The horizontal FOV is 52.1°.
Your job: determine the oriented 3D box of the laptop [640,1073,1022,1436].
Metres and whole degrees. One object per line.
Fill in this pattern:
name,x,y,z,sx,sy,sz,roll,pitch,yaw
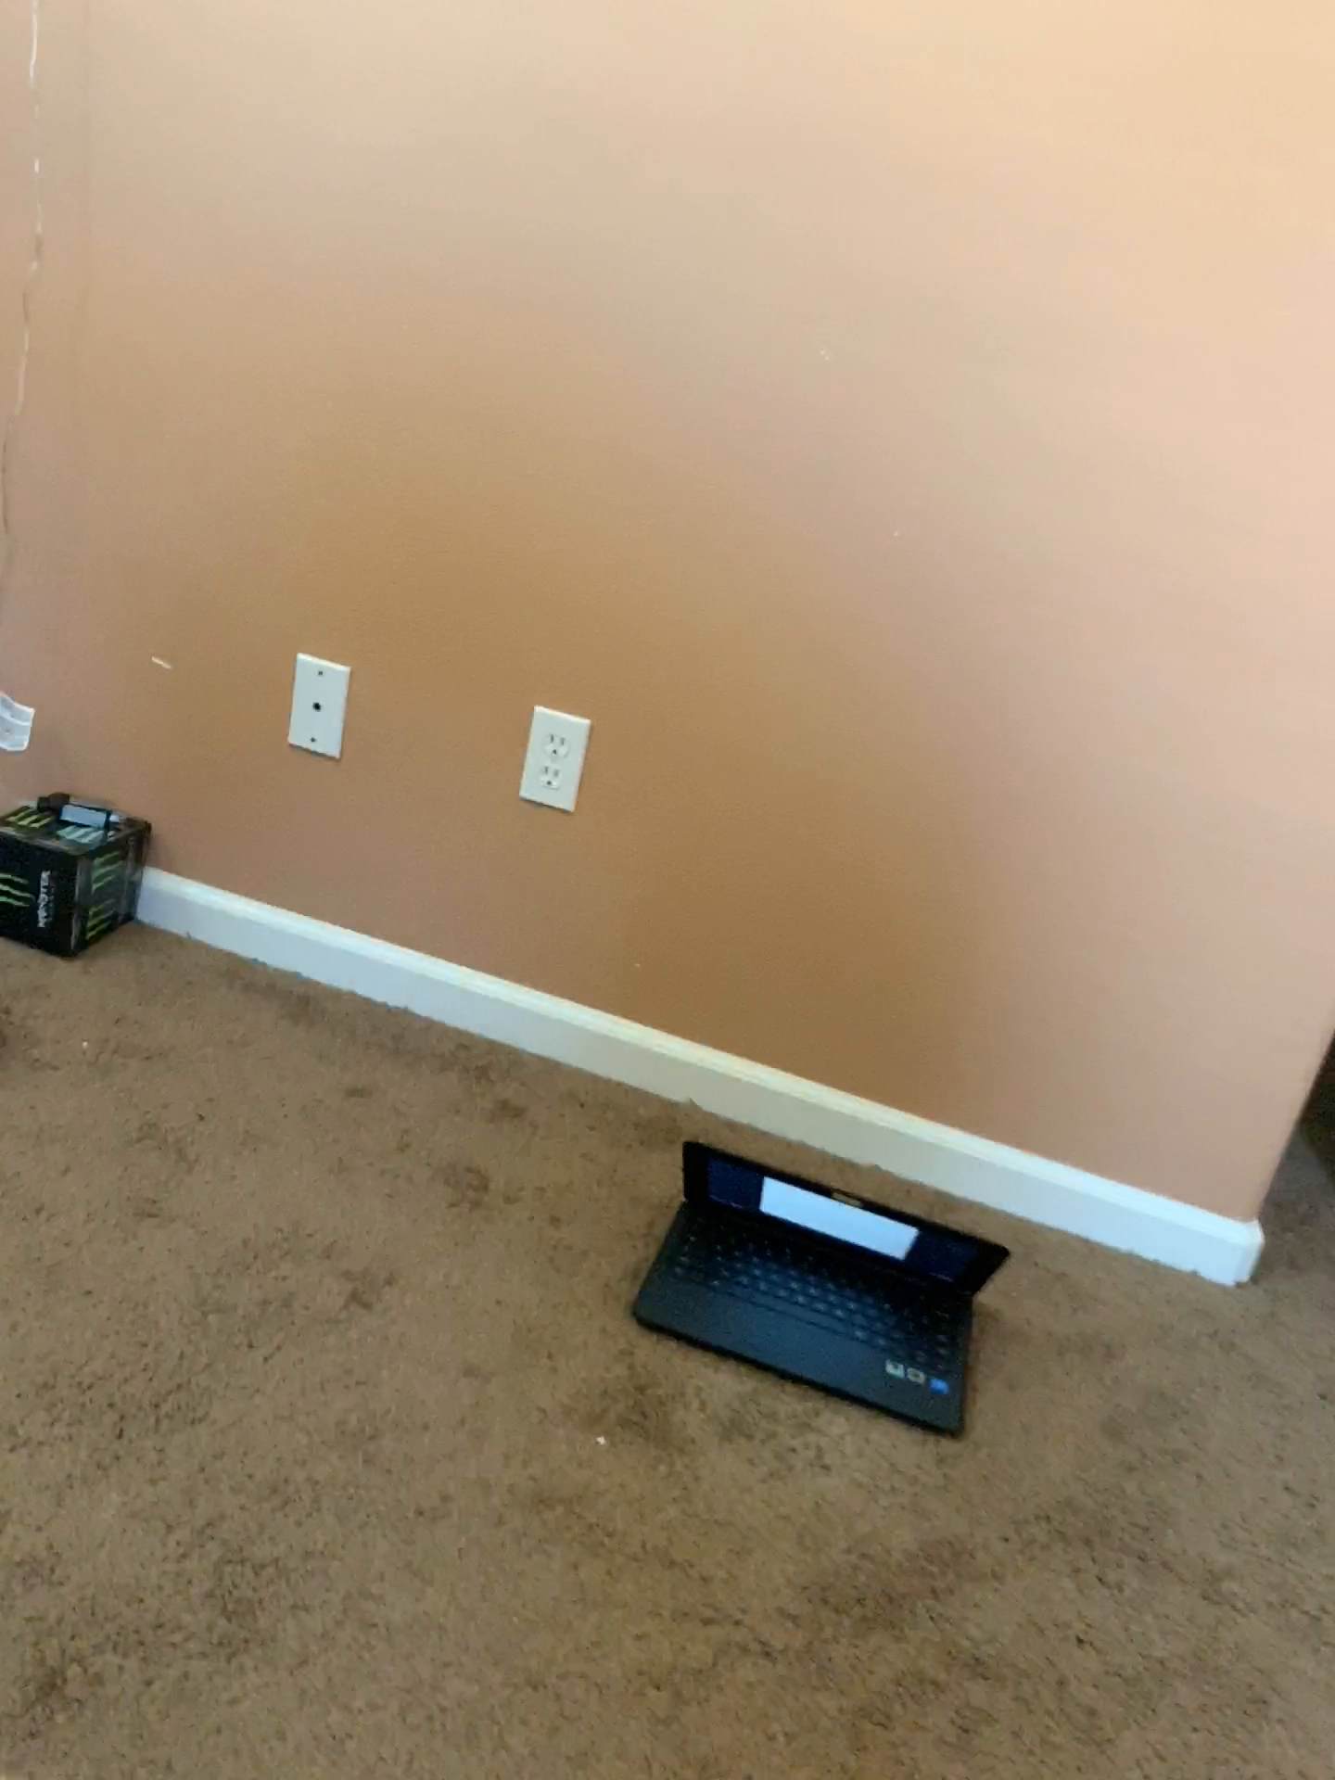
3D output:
laptop,0.152,0.315,1.226,0.292,0.140,0.193,17,22,10
